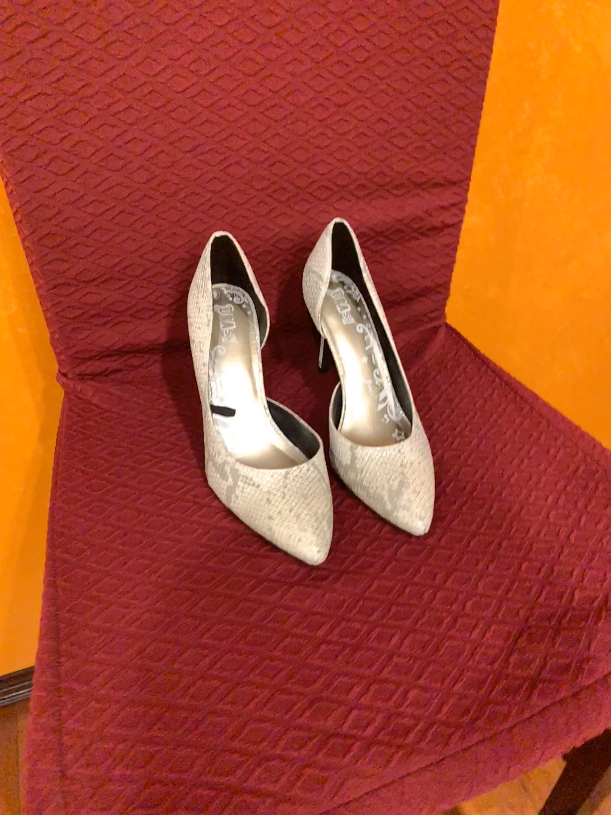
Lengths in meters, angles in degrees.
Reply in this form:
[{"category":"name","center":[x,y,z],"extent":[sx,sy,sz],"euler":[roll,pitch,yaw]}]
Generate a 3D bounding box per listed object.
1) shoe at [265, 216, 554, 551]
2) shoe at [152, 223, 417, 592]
[{"category":"shoe","center":[0.057,-0.035,0.491],"extent":[0.090,0.120,0.249],"euler":[-12,45,-21]},{"category":"shoe","center":[-0.034,-0.018,0.456],"extent":[0.090,0.119,0.253],"euler":[-12,45,-21]}]
